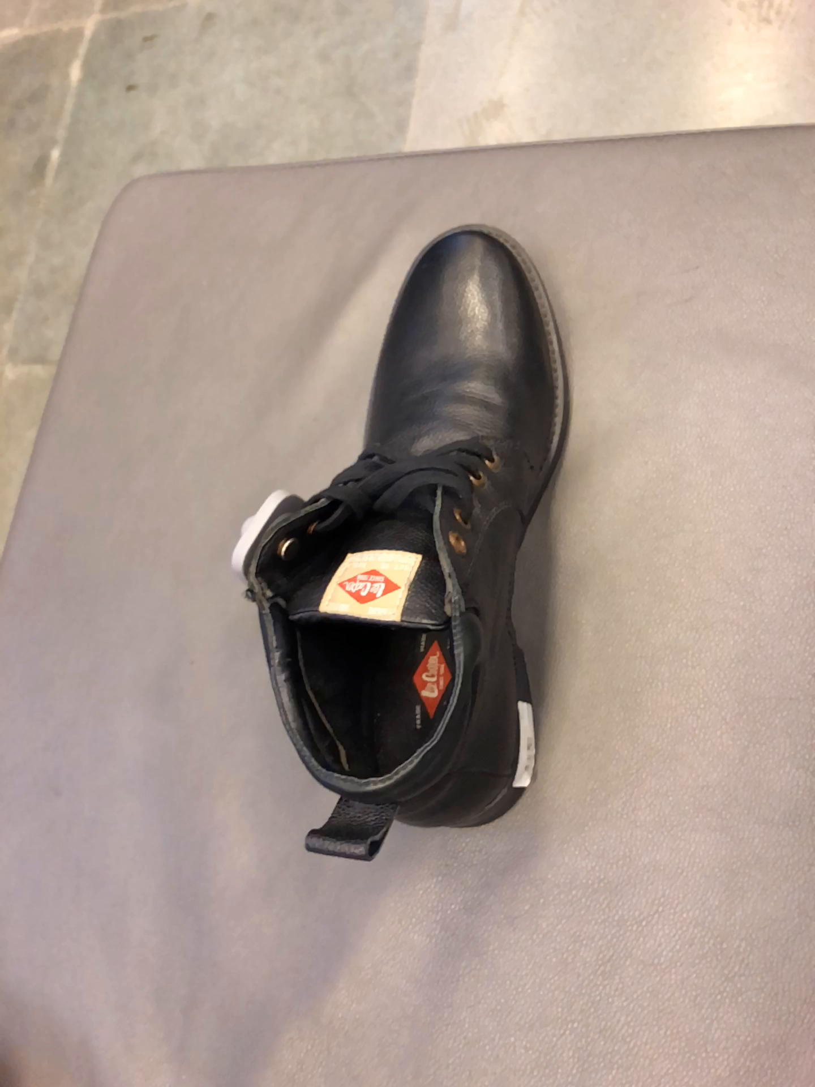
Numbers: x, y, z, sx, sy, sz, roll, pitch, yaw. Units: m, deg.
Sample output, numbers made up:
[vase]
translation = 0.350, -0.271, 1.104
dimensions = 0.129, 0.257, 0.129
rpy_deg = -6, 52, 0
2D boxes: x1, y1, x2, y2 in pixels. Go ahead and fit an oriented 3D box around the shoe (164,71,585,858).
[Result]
[shoe]
translation = 0.005, -0.022, 0.394
dimensions = 0.111, 0.149, 0.284
rpy_deg = -1, 74, 21
